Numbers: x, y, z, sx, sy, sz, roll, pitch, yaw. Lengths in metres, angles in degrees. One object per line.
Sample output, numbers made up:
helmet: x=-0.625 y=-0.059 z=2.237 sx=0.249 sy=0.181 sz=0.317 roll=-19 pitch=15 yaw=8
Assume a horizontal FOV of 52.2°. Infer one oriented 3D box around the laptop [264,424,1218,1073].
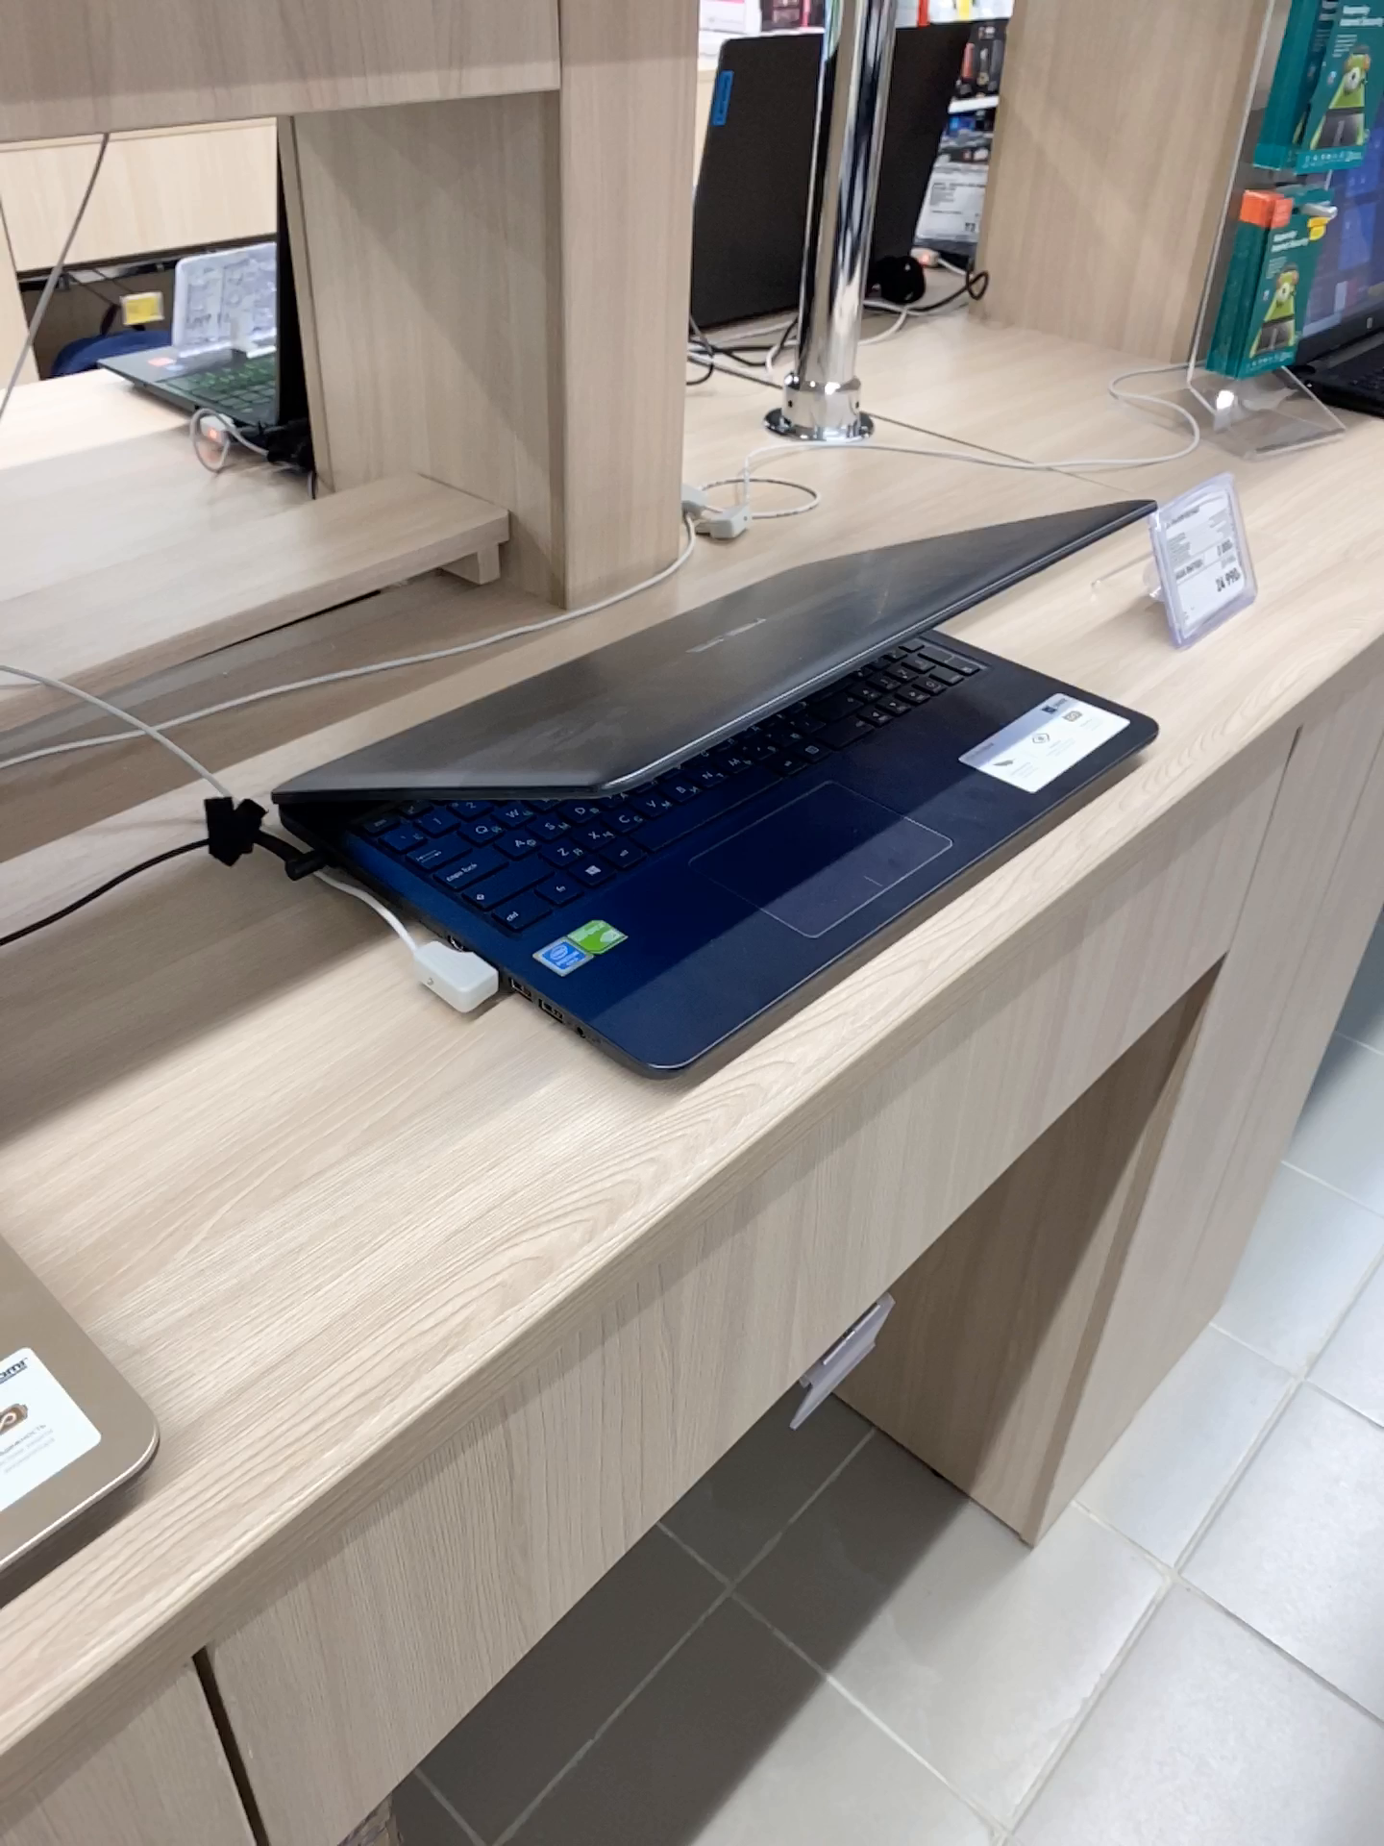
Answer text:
laptop: x=0.040 y=-0.117 z=0.663 sx=0.236 sy=0.098 sz=0.387 roll=31 pitch=44 yaw=31
